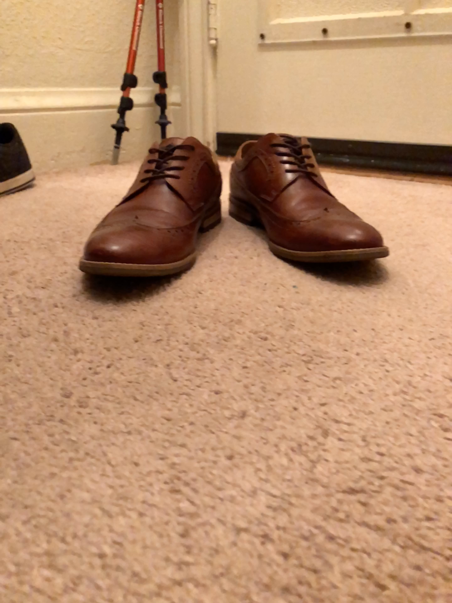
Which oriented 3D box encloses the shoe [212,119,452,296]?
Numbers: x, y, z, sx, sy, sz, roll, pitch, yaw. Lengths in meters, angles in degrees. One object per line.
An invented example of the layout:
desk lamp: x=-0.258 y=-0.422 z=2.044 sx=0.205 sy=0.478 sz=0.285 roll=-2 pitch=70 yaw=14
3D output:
shoe: x=0.080 y=-0.123 z=0.536 sx=0.115 sy=0.114 sz=0.311 roll=-6 pitch=25 yaw=-15

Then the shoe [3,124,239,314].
shoe: x=-0.073 y=-0.110 z=0.516 sx=0.115 sy=0.114 sz=0.312 roll=5 pitch=24 yaw=11
